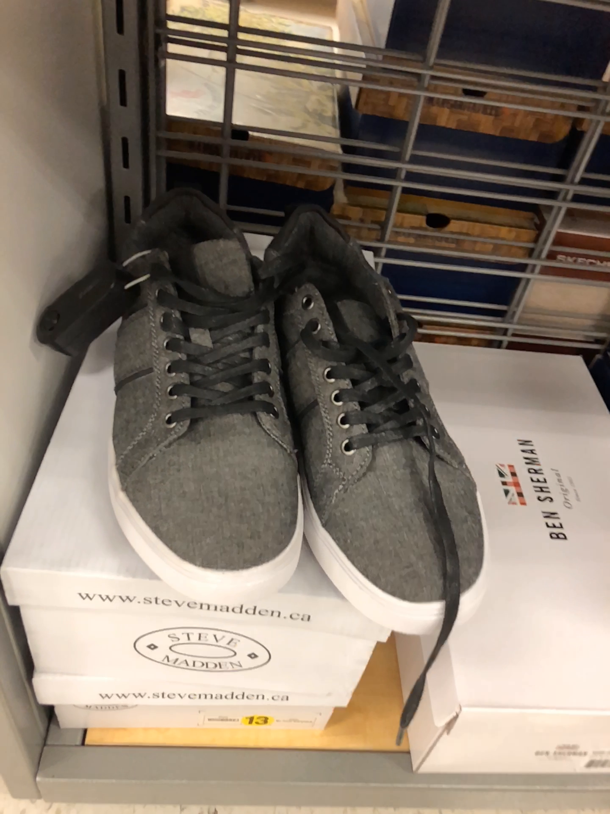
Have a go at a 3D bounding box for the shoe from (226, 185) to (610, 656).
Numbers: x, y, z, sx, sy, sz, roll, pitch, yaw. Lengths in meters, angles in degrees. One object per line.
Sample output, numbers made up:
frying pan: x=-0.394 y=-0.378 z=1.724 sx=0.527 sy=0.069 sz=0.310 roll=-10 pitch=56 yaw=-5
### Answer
shoe: x=0.038 y=-0.017 z=0.393 sx=0.107 sy=0.099 sz=0.272 roll=-6 pitch=47 yaw=-18

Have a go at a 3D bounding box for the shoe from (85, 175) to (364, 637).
shoe: x=-0.065 y=-0.022 z=0.385 sx=0.107 sy=0.099 sz=0.262 roll=-4 pitch=46 yaw=-16
